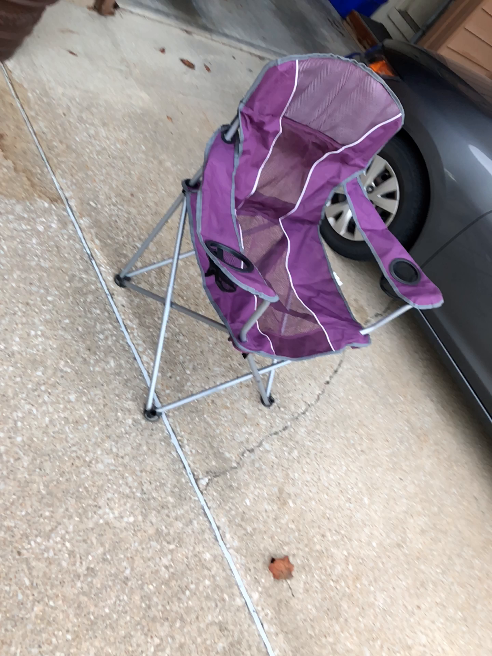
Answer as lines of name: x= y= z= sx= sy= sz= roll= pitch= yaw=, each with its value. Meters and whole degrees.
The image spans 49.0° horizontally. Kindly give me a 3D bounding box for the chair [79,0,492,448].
chair: x=0.126 y=-0.216 z=1.533 sx=0.764 sy=0.877 sz=0.709 roll=1 pitch=57 yaw=-41
